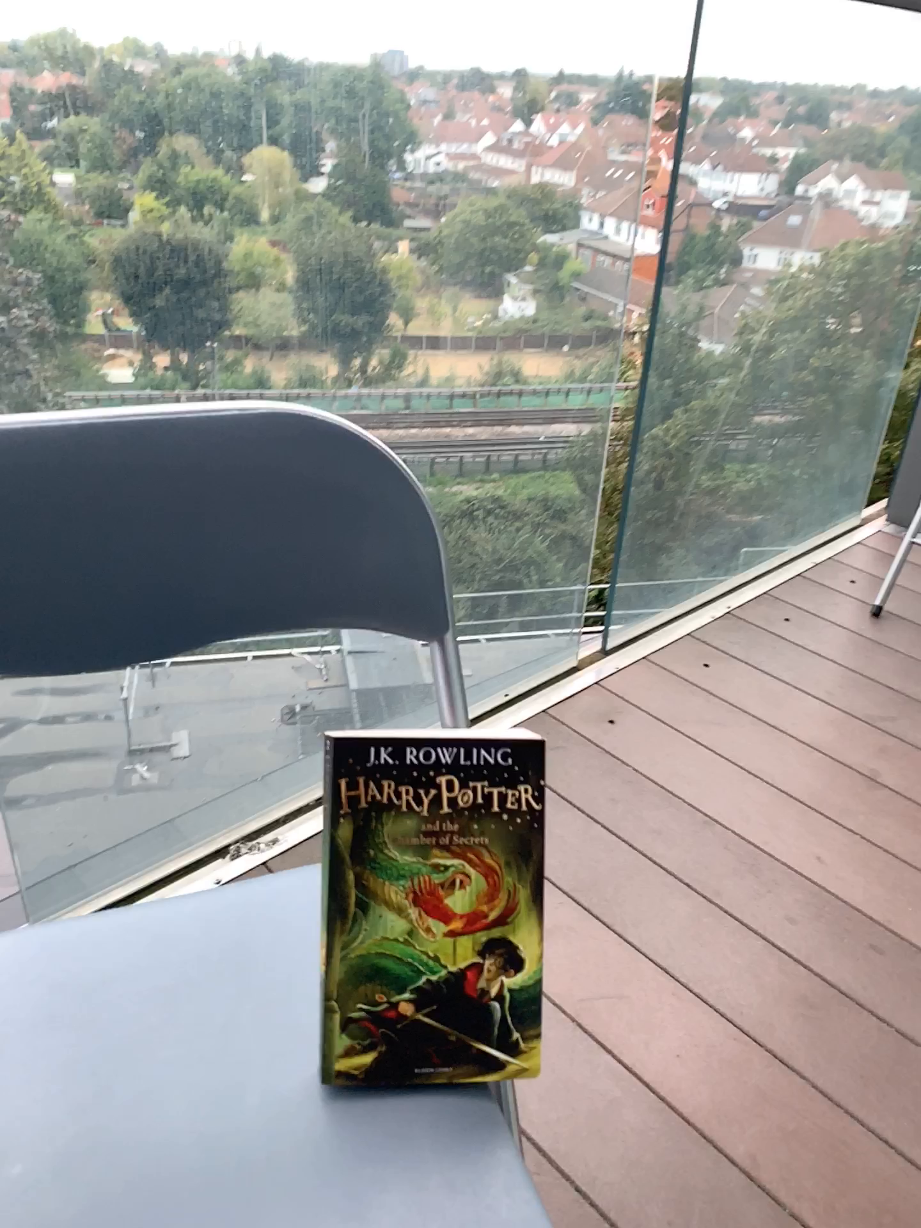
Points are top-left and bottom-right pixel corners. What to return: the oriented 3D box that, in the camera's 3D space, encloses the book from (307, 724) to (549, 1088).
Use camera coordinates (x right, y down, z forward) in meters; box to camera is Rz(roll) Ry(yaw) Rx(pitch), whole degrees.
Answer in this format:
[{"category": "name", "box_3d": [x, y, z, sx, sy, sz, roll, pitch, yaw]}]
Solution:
[{"category": "book", "box_3d": [-0.020, 0.170, 0.564, 0.140, 0.200, 0.040, 0, 0, -6]}]
